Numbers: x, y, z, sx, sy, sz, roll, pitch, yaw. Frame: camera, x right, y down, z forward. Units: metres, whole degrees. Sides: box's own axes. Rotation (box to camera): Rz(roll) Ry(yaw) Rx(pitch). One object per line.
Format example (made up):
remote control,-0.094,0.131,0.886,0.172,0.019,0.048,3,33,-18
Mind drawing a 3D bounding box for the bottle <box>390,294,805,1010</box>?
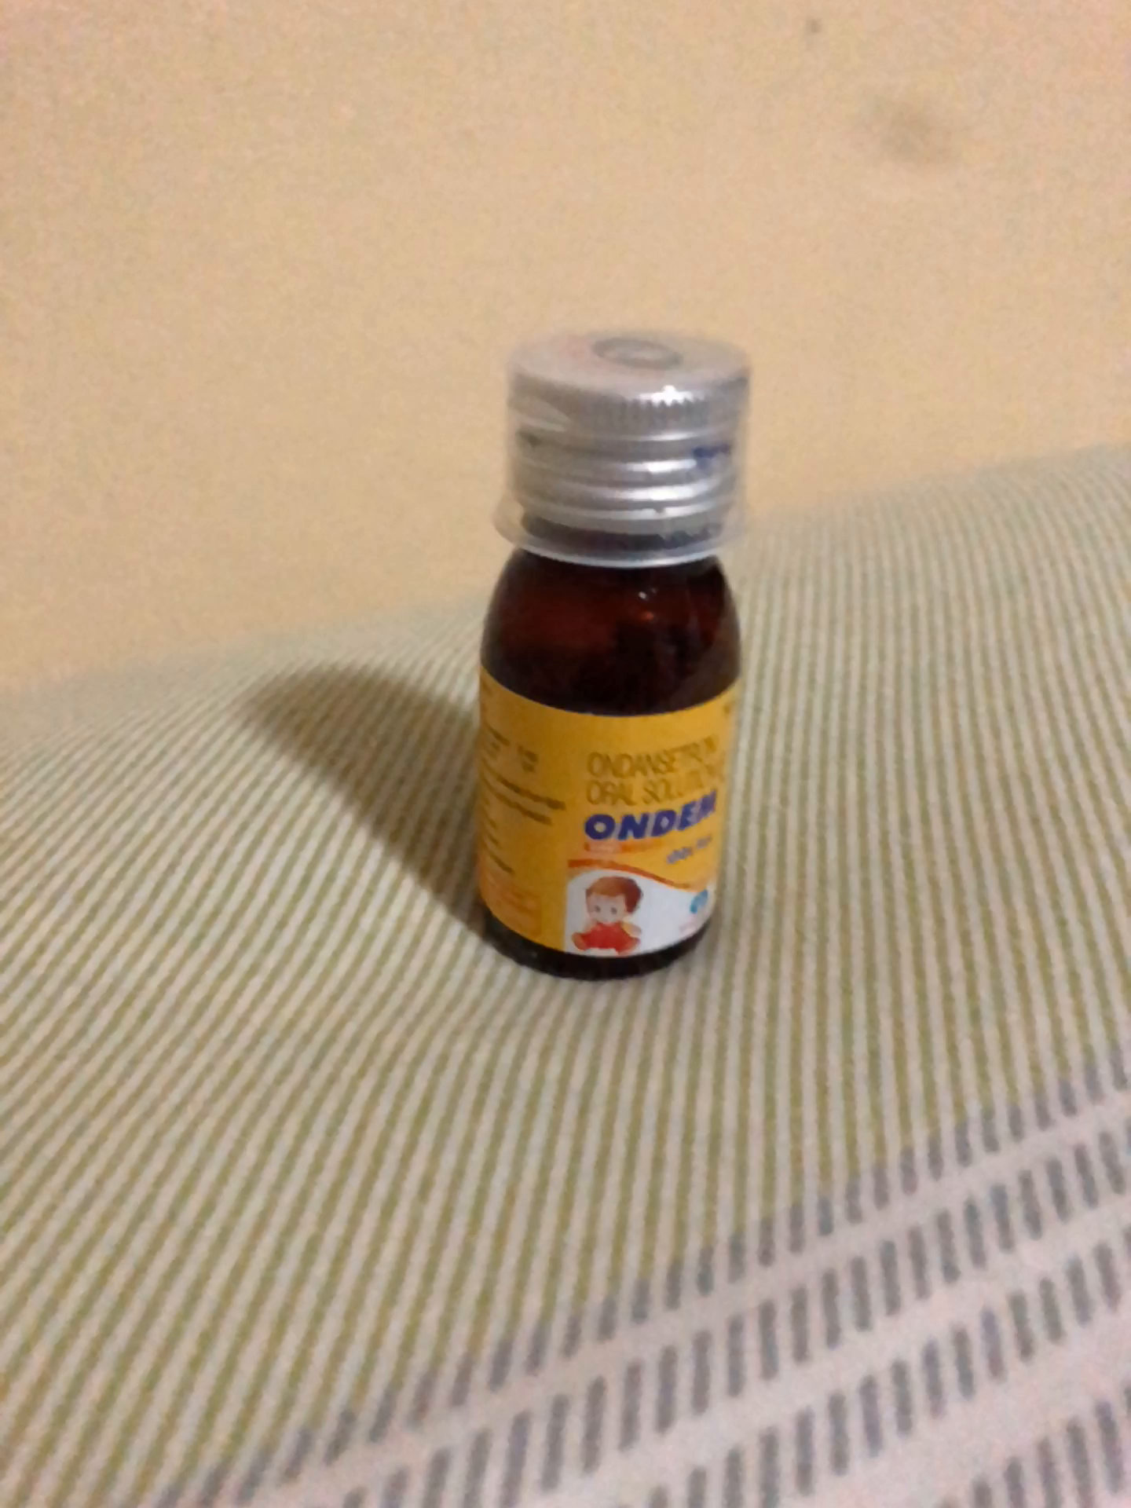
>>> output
bottle,0.002,-0.013,0.158,0.037,0.076,0.038,-1,31,1
